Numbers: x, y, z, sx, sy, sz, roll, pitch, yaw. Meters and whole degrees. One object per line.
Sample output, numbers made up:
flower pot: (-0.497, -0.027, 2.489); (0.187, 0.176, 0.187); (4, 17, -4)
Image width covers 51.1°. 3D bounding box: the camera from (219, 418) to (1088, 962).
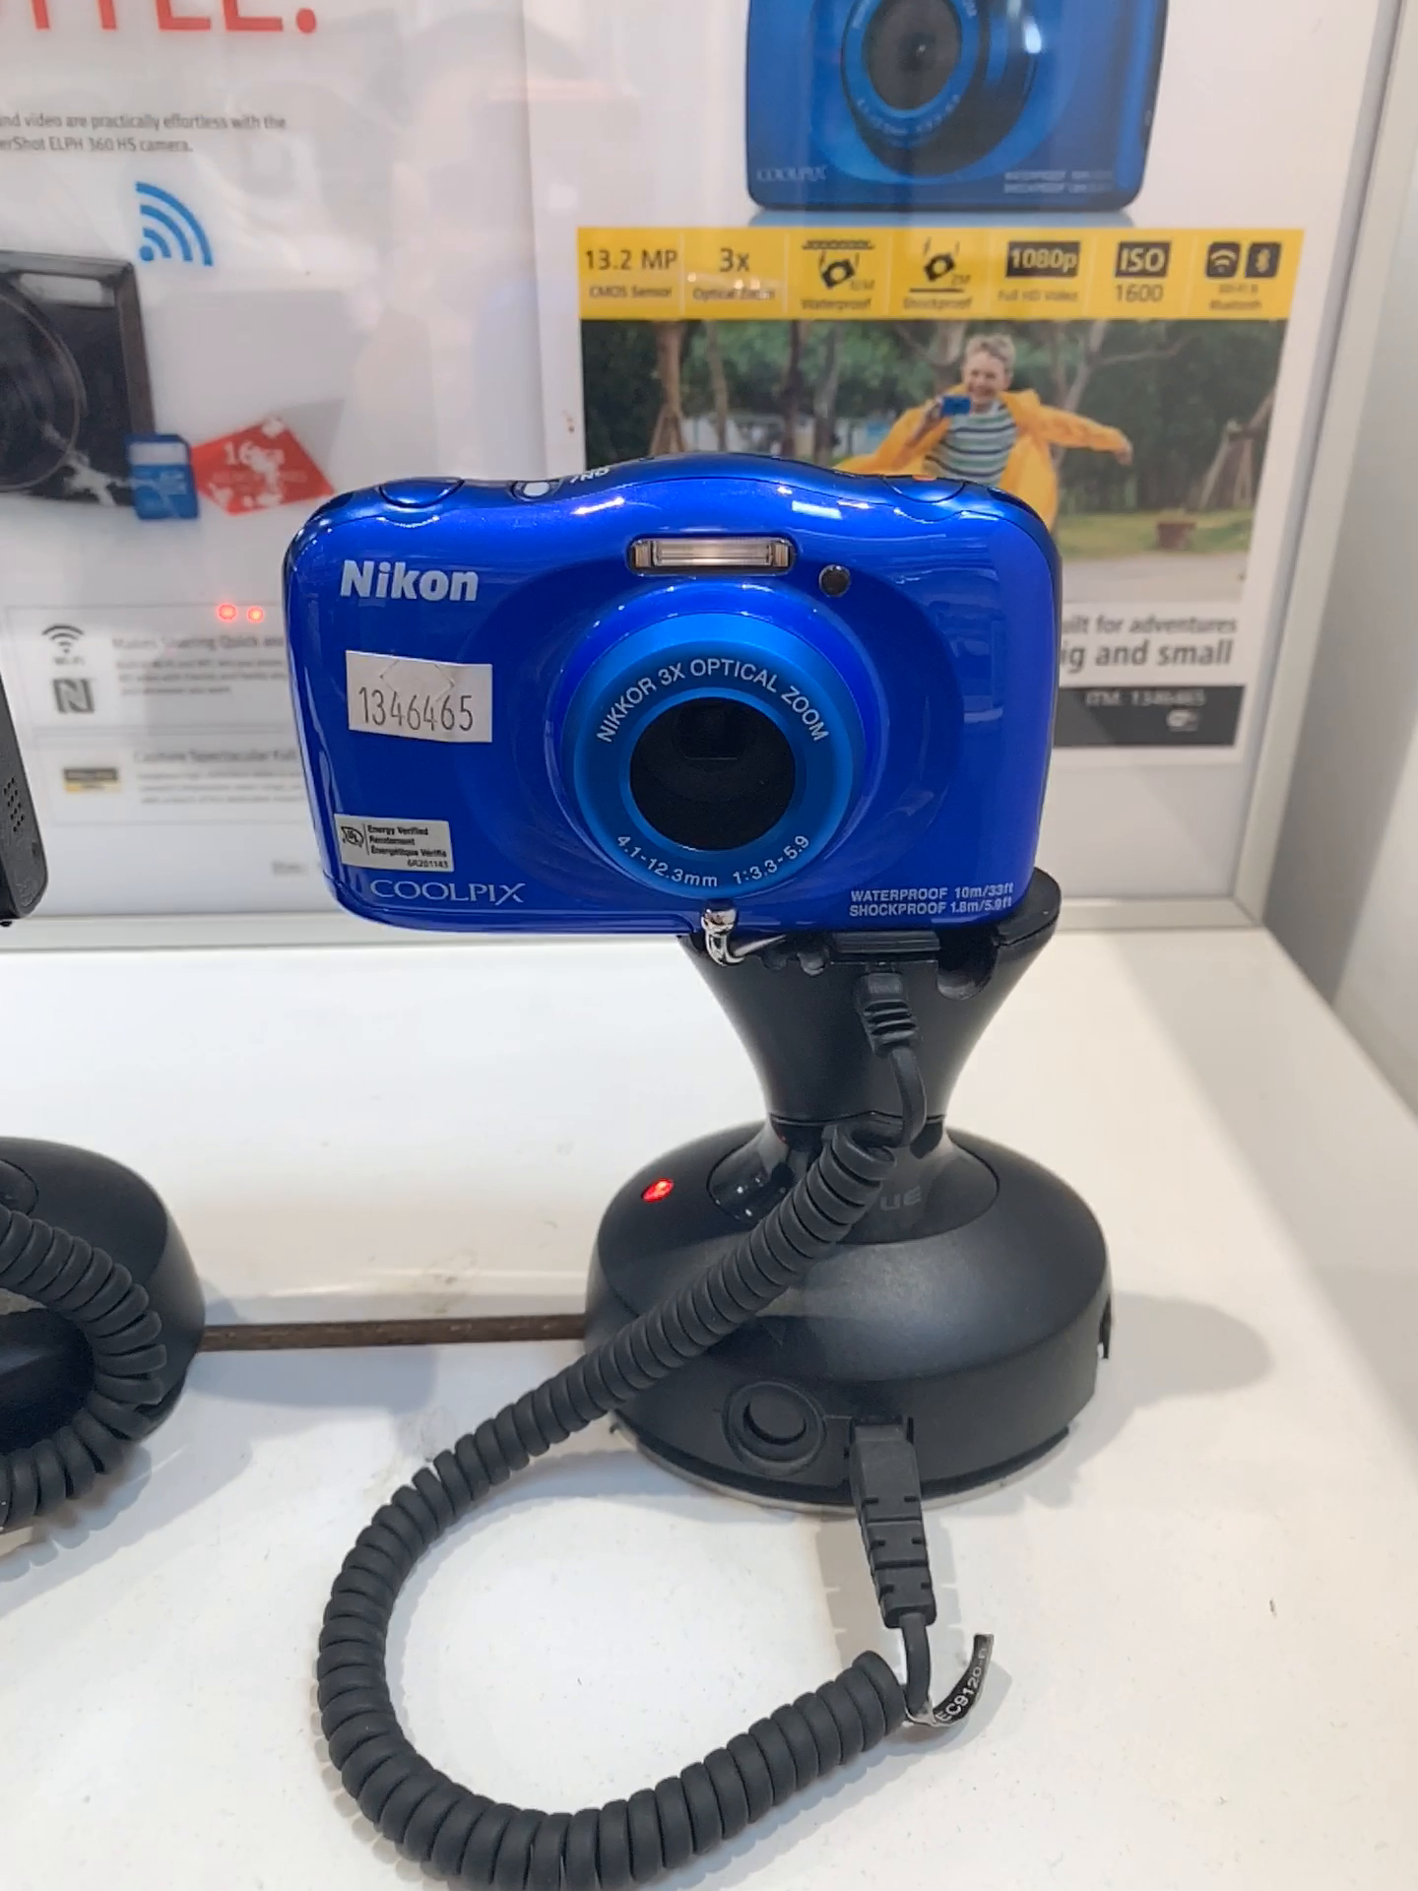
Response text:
camera: (-0.007, -0.036, 0.207); (0.101, 0.063, 0.046); (0, 28, -1)
